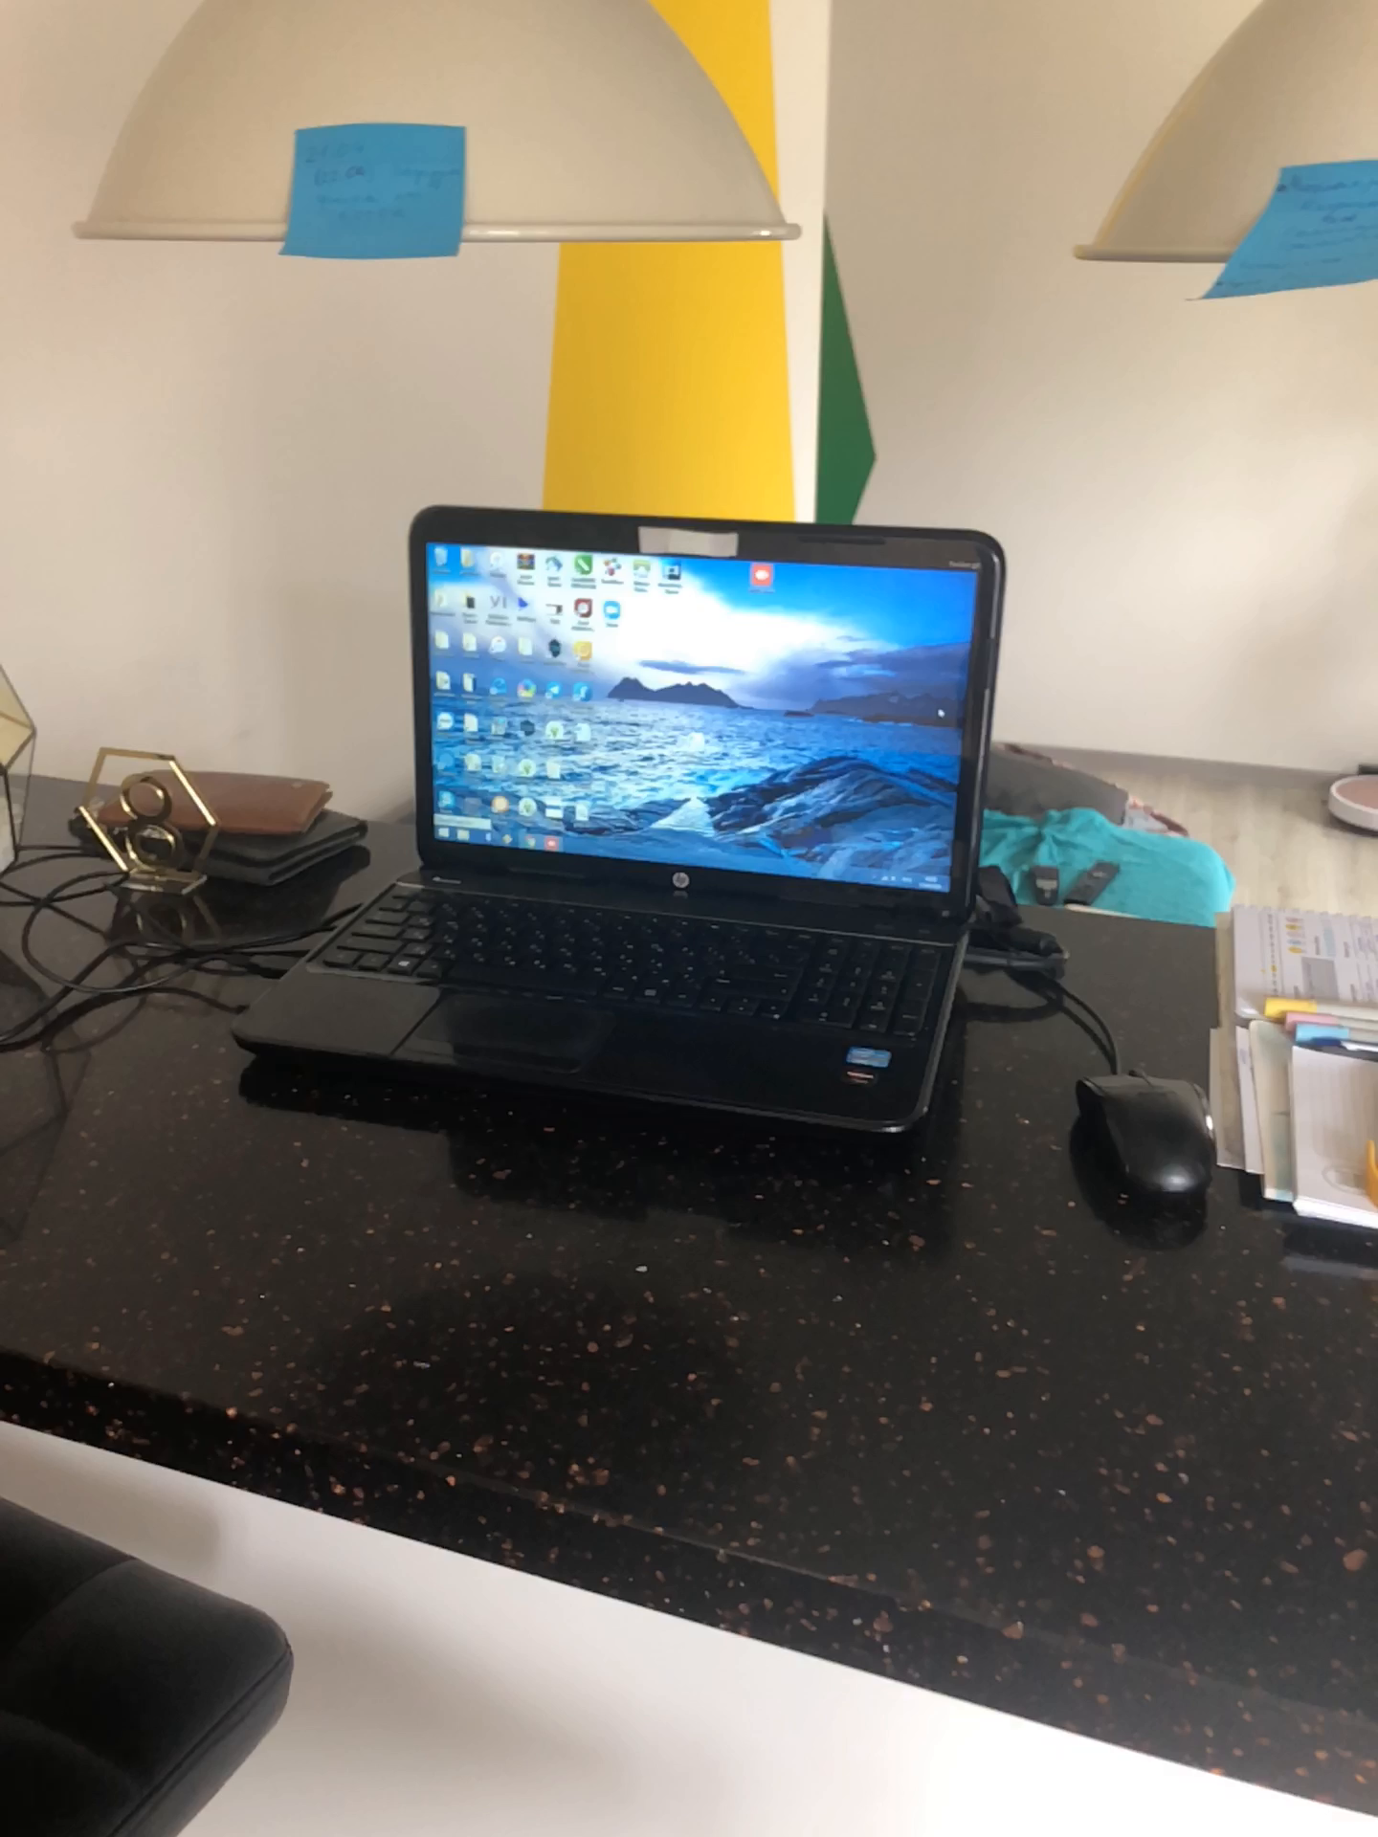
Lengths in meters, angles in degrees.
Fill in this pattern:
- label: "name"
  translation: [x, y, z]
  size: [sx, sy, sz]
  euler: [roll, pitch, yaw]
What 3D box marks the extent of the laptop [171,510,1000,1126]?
- label: "laptop"
  translation: [-0.033, -0.079, 0.834]
  size: [0.360, 0.217, 0.268]
  euler: [6, 25, 14]
